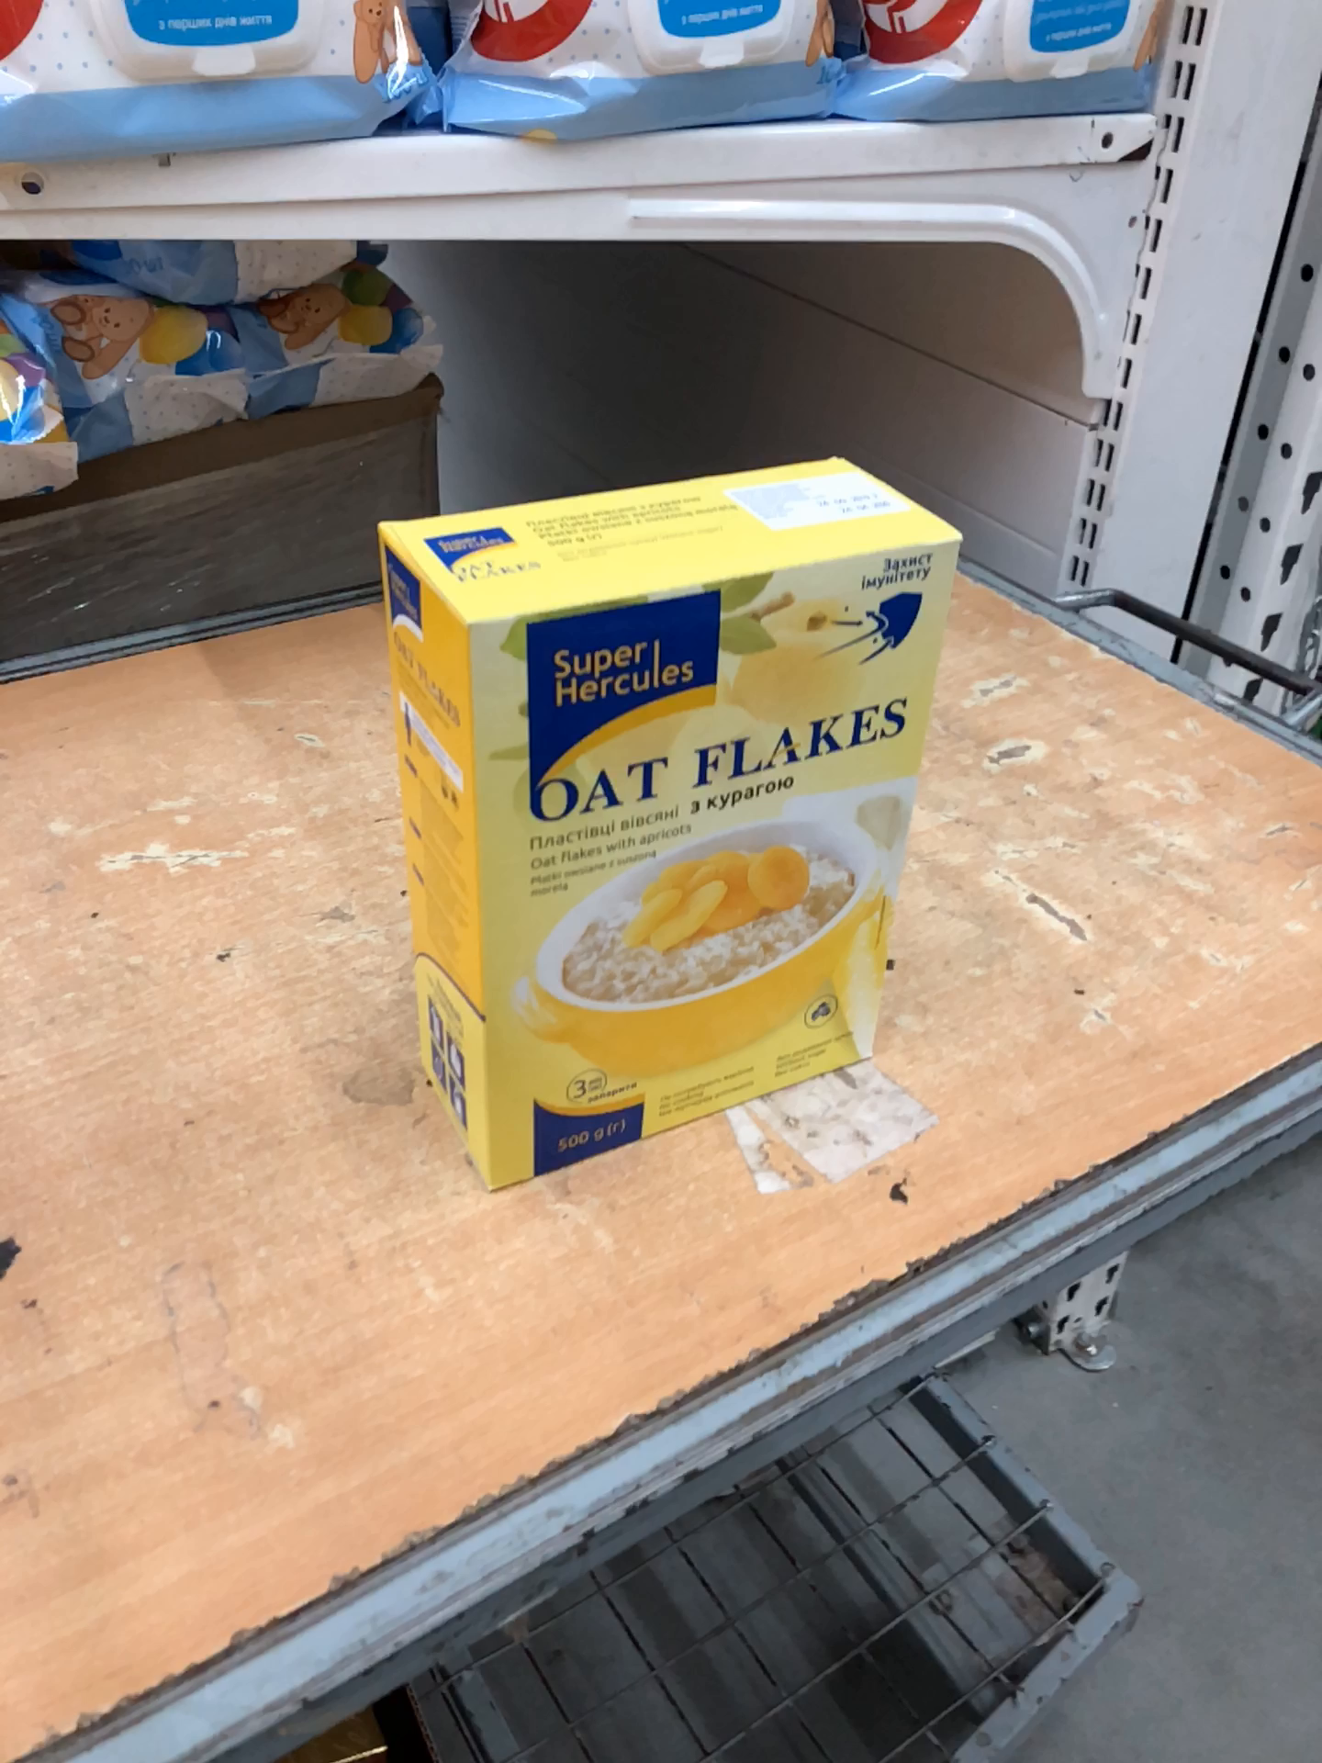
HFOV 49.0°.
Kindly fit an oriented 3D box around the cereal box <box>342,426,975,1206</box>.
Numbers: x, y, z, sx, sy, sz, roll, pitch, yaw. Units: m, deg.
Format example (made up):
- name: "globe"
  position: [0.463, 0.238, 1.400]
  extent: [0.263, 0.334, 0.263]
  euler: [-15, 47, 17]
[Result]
- name: "cereal box"
  position: [-0.004, -0.020, 0.448]
  extent: [0.150, 0.198, 0.080]
  euler: [-15, 40, -22]
